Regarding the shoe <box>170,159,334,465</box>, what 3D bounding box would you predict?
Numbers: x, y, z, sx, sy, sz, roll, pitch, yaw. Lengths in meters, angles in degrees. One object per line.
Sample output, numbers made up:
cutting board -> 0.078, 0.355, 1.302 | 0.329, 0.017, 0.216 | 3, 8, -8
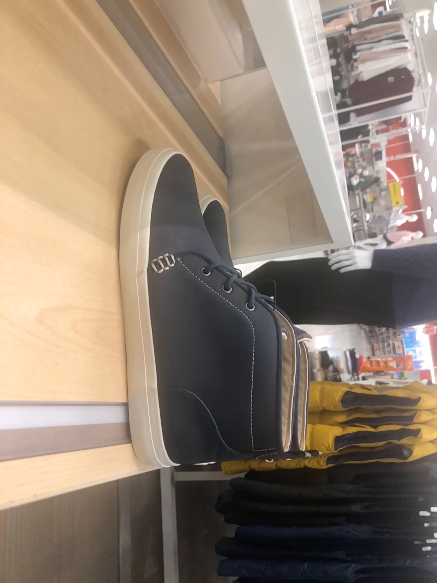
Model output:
shoe -> 0.033, 0.026, 0.478 | 0.106, 0.124, 0.267 | 38, 48, -65

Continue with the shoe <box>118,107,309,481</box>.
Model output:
shoe -> -0.003, 0.008, 0.393 | 0.109, 0.114, 0.258 | 30, 56, -68
